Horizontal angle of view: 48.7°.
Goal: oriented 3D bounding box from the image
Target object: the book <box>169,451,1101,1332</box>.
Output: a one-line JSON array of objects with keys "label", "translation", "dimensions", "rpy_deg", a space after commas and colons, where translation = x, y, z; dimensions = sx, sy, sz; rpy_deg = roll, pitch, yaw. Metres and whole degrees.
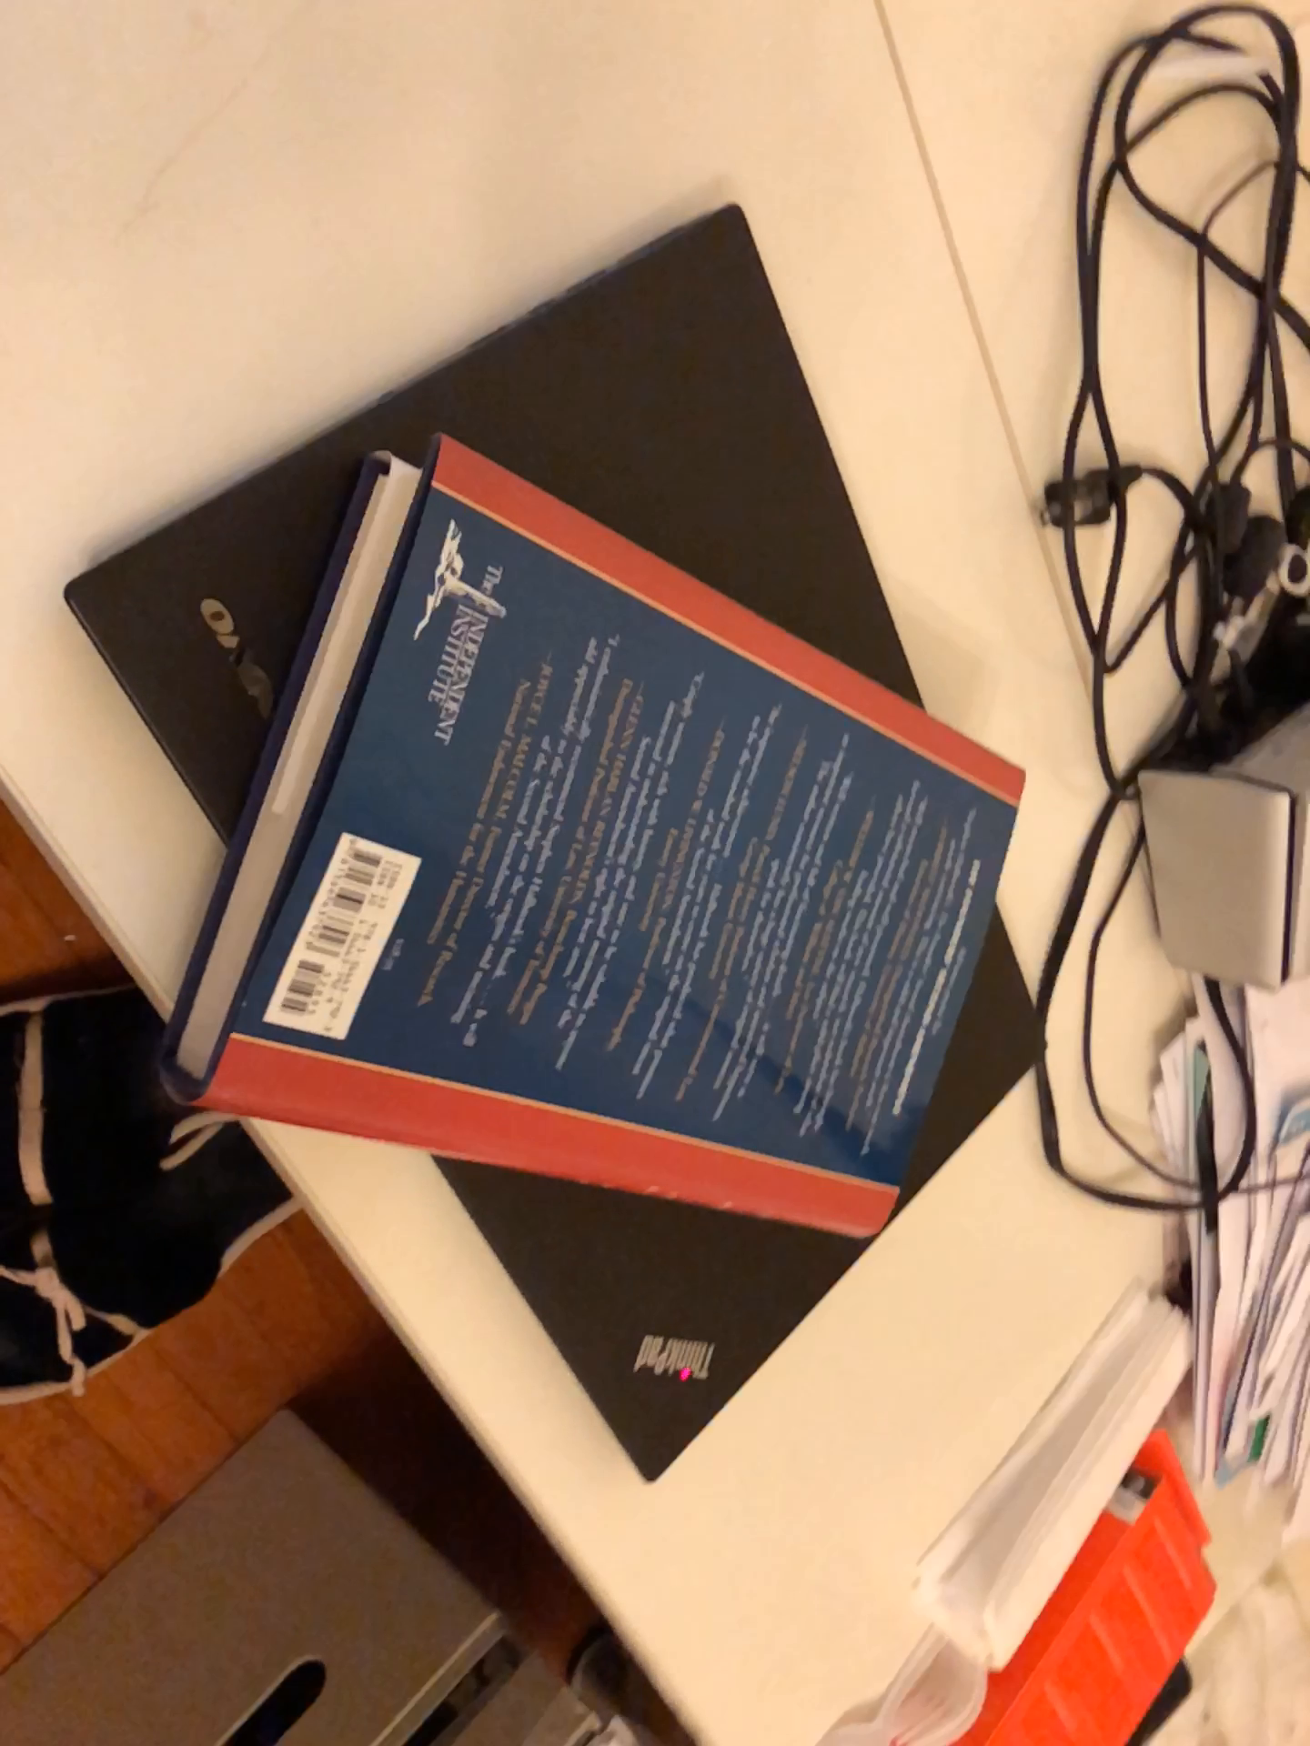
[{"label": "book", "translation": [0.015, 0.022, 0.397], "dimensions": [0.241, 0.040, 0.170], "rpy_deg": [22, 82, -37]}]
